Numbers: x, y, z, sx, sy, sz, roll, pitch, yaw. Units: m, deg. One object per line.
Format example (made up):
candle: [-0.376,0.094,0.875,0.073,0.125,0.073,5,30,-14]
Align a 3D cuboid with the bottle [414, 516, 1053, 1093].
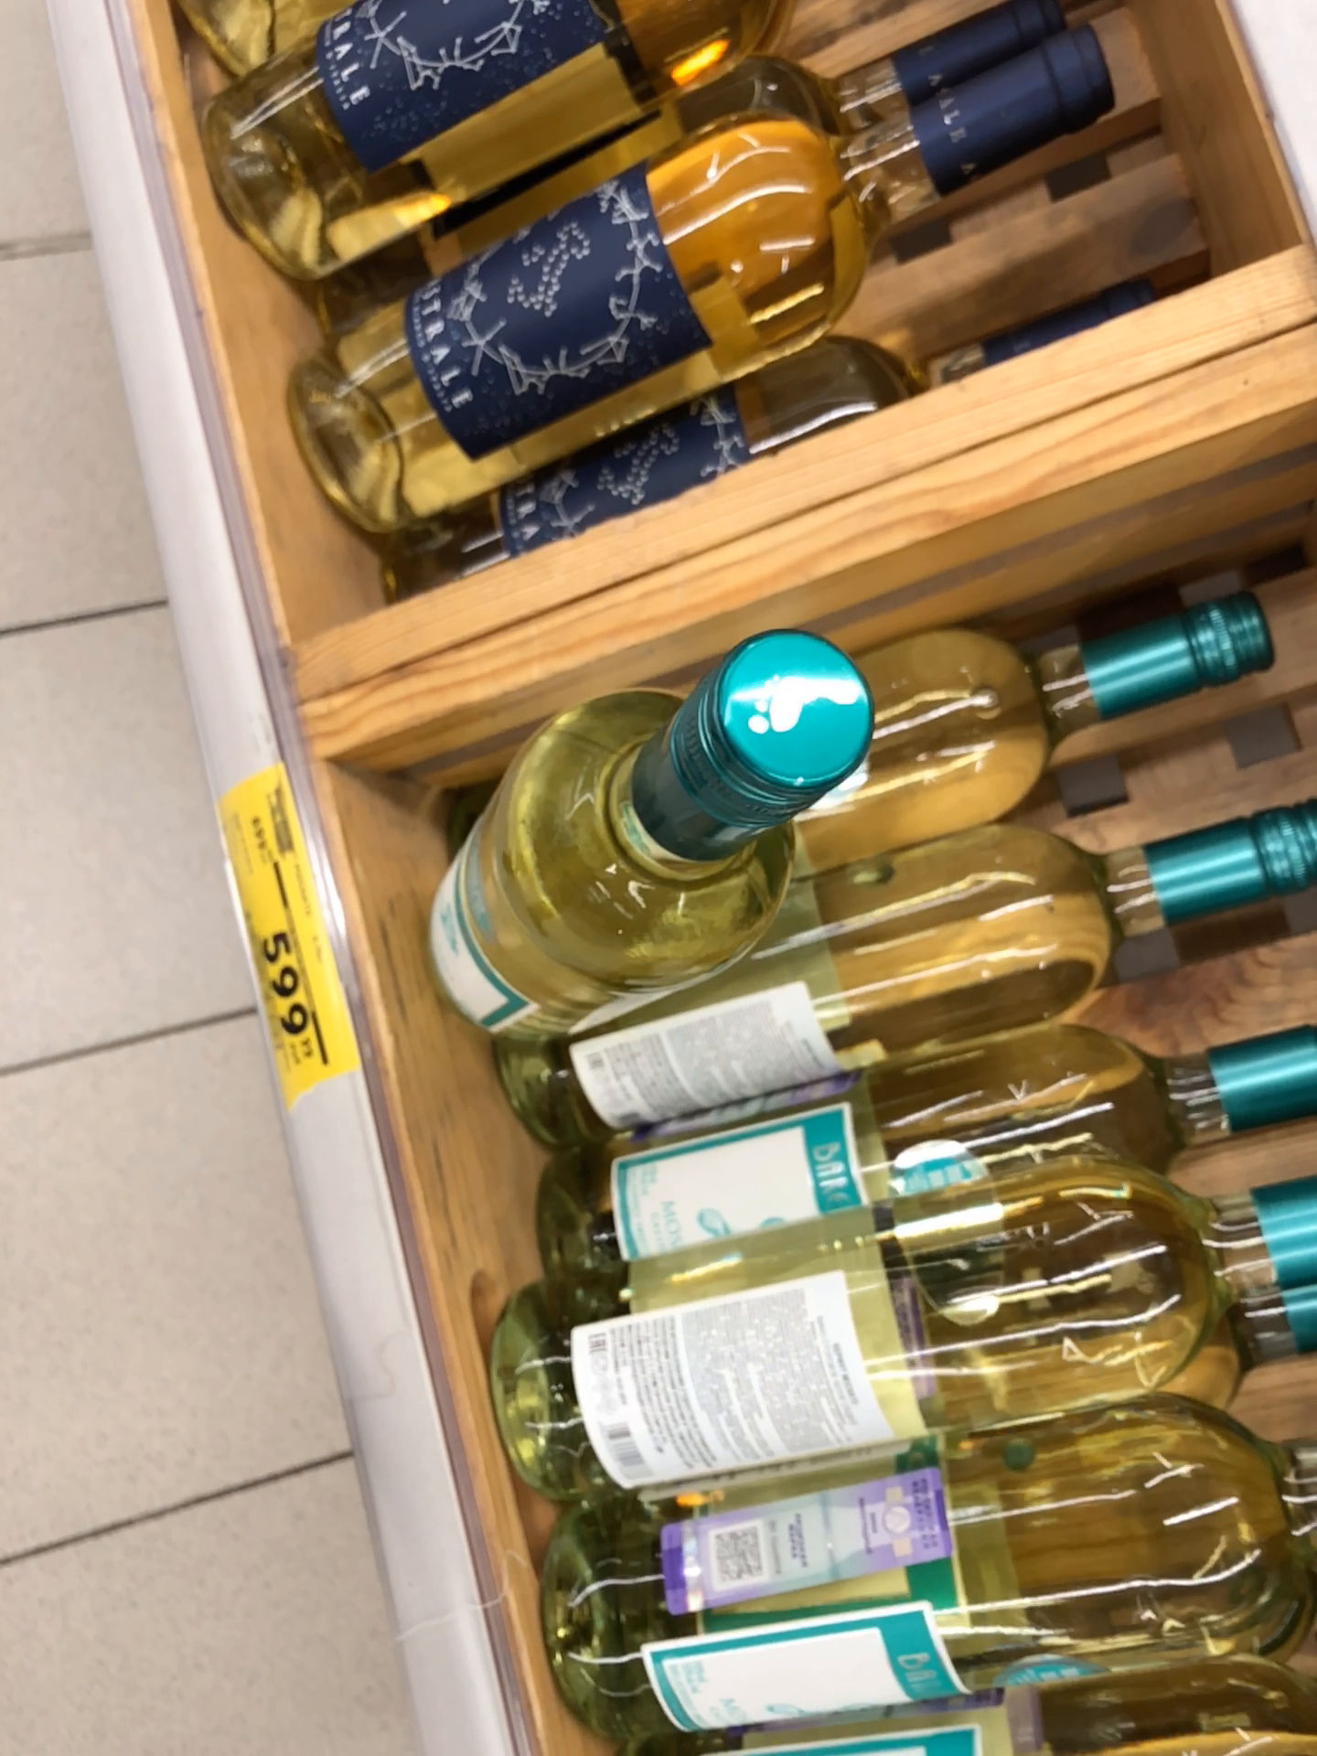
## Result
bottle: [-0.009,0.004,0.389,0.080,0.290,0.080,3,78,-13]
